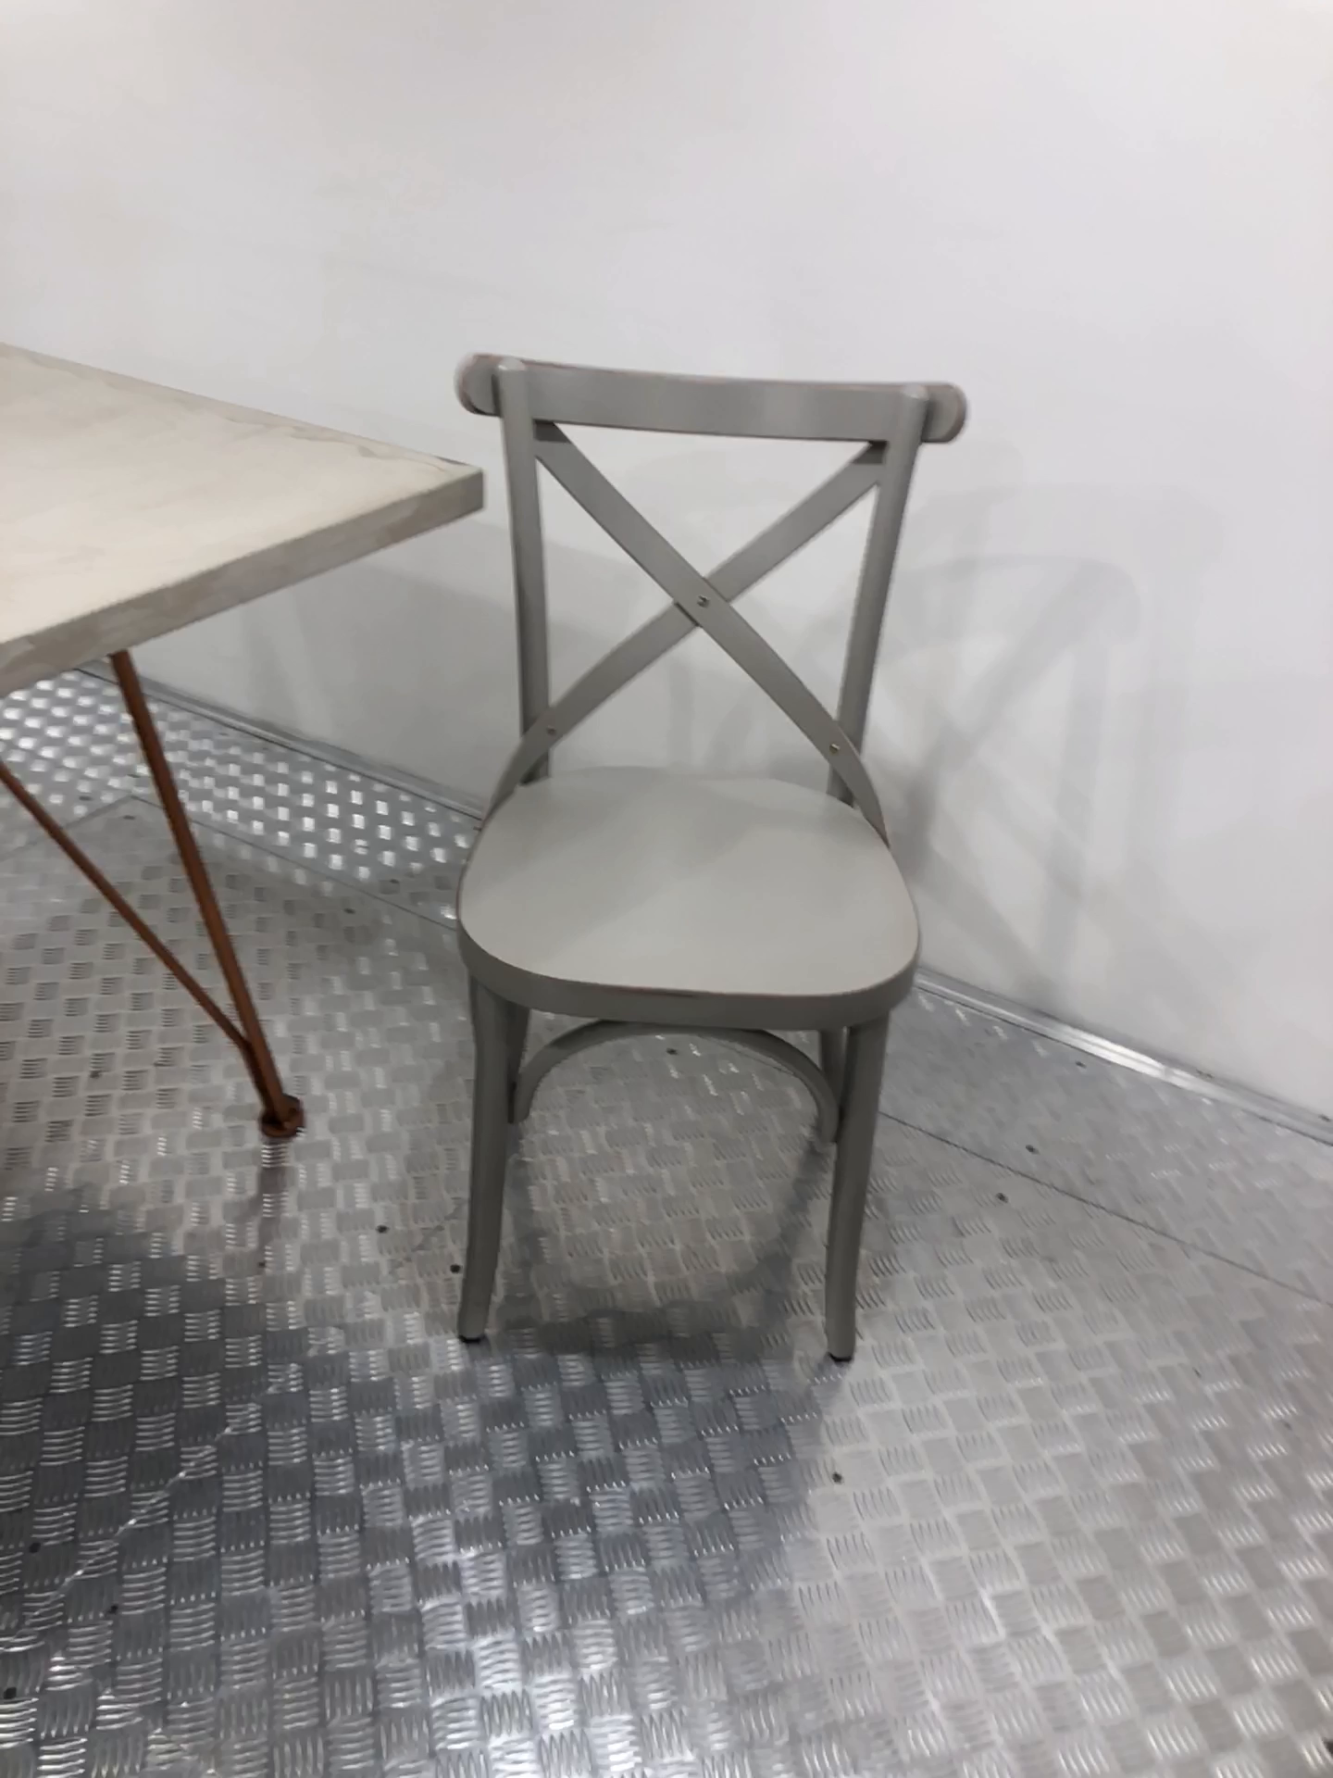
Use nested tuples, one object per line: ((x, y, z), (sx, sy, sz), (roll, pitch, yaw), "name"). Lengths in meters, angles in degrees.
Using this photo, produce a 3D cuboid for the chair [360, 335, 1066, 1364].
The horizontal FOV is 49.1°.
((0.006, -0.032, 1.497), (0.510, 0.893, 0.504), (3, 31, -2), "chair")
